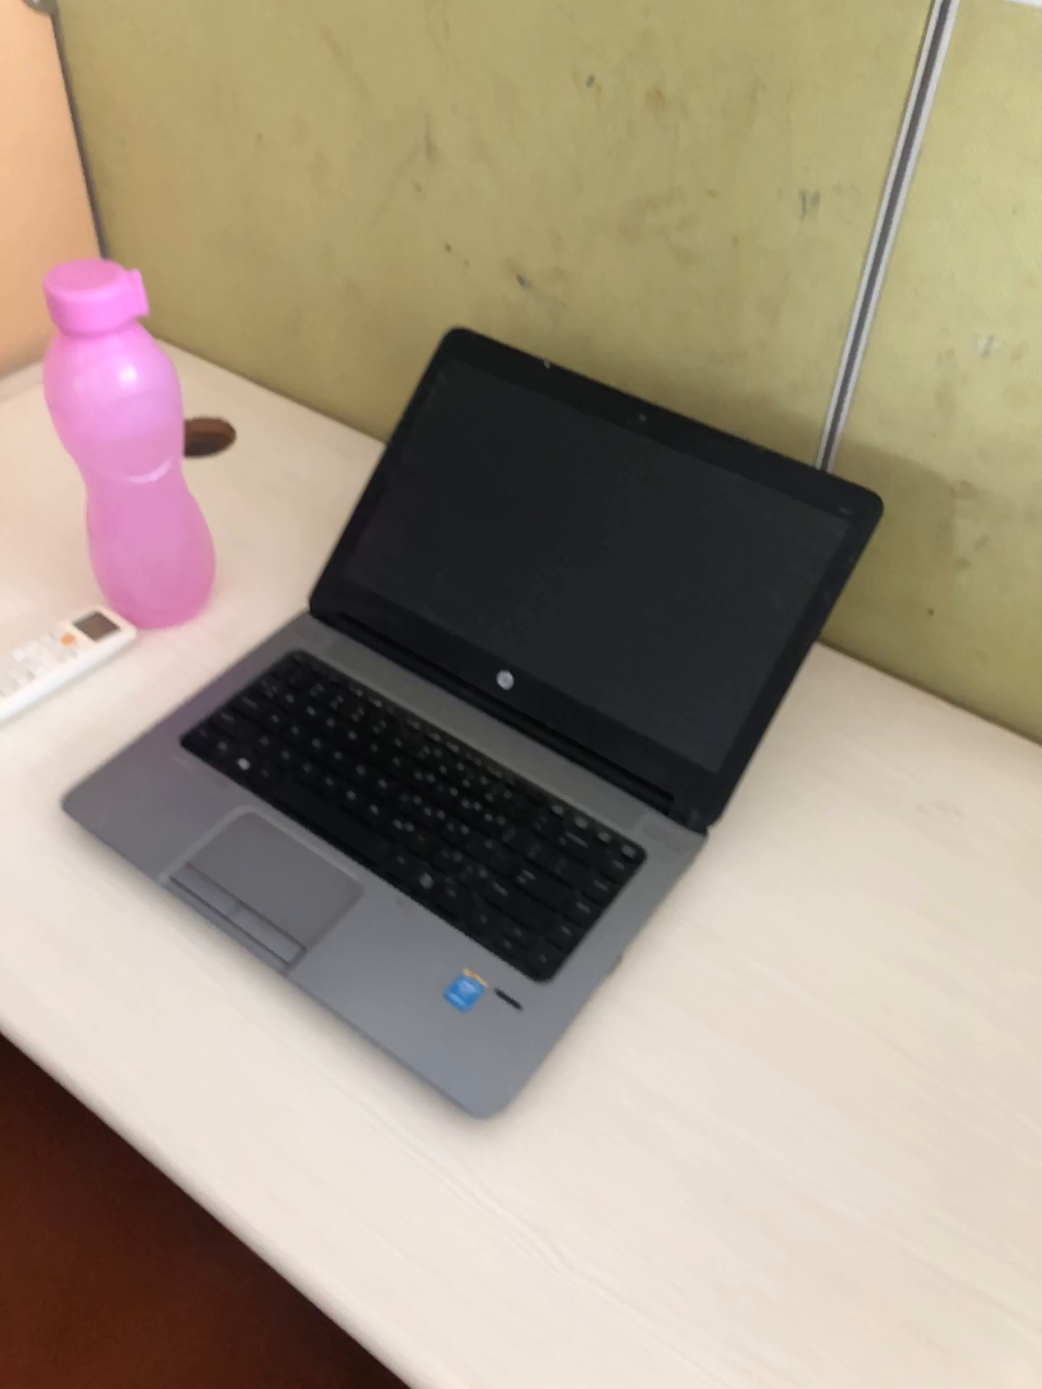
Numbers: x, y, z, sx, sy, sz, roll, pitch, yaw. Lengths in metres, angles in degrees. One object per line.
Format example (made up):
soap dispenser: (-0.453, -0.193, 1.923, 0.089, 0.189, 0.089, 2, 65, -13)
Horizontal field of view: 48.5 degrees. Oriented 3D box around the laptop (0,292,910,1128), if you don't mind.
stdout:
laptop: (-0.026, -0.034, 0.691, 0.327, 0.148, 0.407, 28, 55, 24)
